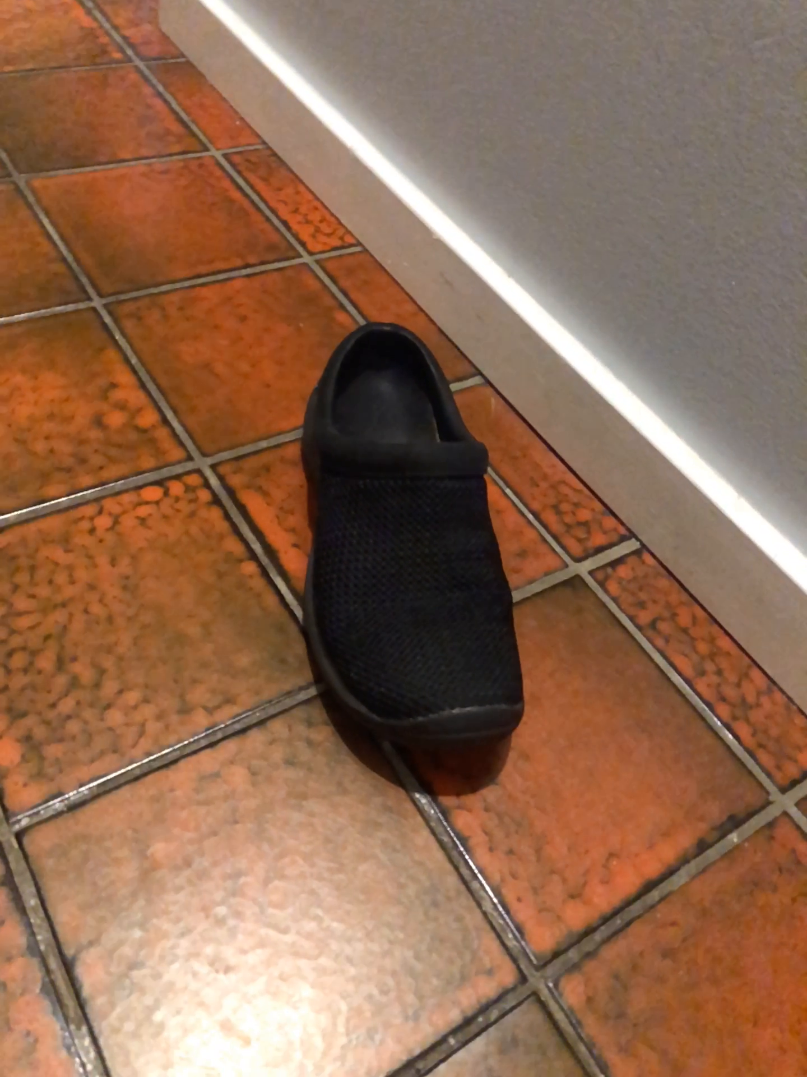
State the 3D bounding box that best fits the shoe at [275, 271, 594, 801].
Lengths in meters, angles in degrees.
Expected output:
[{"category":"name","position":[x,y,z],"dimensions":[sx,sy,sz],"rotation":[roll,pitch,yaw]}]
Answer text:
[{"category":"shoe","position":[-0.003,-0.015,0.421],"dimensions":[0.100,0.080,0.251],"rotation":[0,50,-12]}]
